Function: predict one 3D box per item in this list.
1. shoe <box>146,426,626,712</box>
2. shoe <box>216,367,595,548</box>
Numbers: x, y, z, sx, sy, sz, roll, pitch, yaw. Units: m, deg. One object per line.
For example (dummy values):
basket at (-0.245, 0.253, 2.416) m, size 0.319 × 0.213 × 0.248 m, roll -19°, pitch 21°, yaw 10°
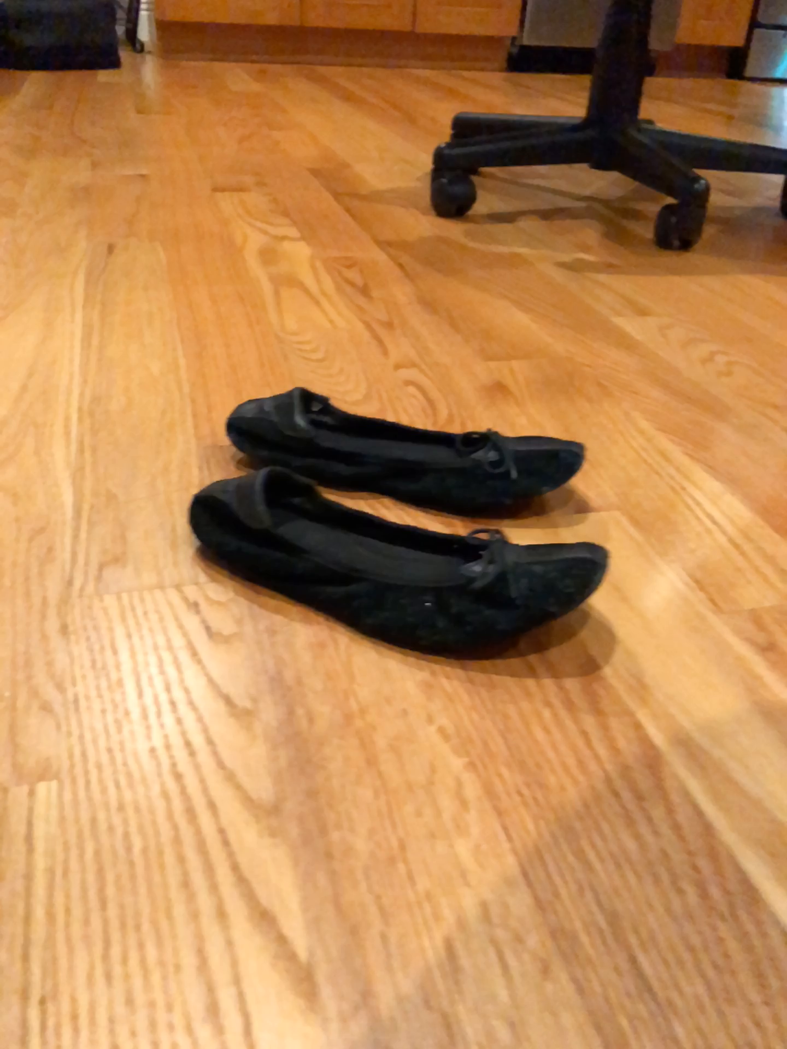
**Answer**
shoe at (-0.002, 0.014, 0.447) m, size 0.220 × 0.050 × 0.101 m, roll 14°, pitch 33°, yaw 16°
shoe at (0.011, -0.047, 0.545) m, size 0.220 × 0.046 × 0.093 m, roll 9°, pitch 32°, yaw 8°
